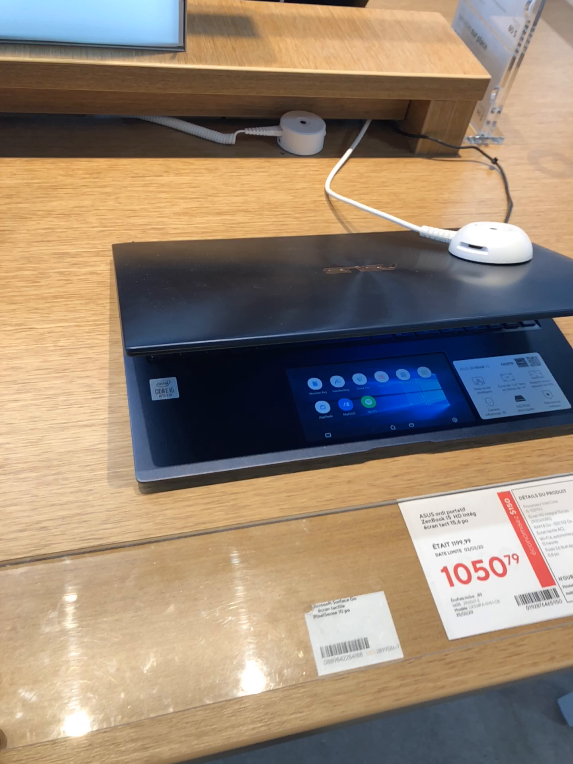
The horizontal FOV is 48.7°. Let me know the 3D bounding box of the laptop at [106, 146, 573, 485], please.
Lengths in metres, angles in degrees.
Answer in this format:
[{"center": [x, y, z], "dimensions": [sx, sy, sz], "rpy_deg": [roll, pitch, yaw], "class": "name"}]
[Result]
[{"center": [0.062, -0.067, 0.454], "dimensions": [0.352, 0.098, 0.209], "rpy_deg": [-6, 52, -16], "class": "laptop"}]
